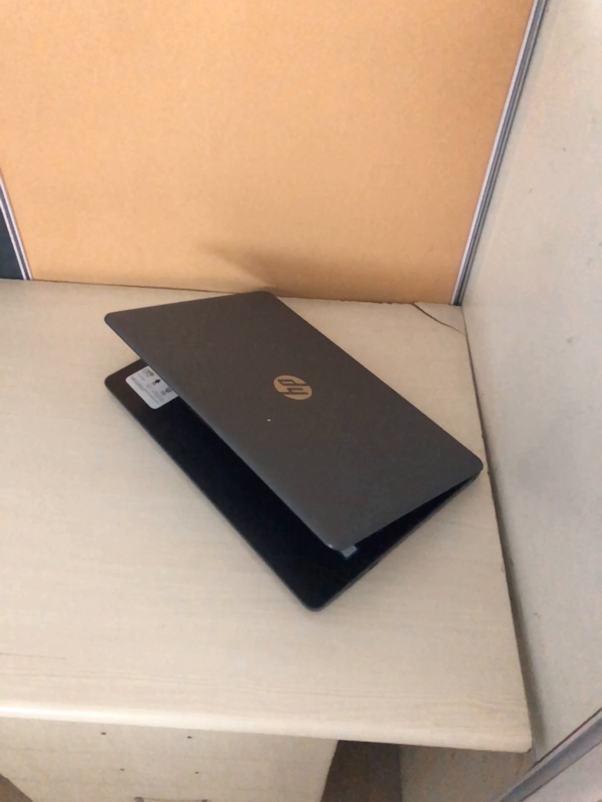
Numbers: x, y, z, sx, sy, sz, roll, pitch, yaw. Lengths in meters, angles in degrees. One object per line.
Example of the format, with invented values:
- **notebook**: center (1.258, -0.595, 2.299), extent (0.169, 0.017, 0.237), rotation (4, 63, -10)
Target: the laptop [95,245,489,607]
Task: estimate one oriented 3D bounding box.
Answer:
- **laptop**: center (-0.023, -0.004, 0.718), extent (0.238, 0.074, 0.363), rotation (-34, 58, -25)
